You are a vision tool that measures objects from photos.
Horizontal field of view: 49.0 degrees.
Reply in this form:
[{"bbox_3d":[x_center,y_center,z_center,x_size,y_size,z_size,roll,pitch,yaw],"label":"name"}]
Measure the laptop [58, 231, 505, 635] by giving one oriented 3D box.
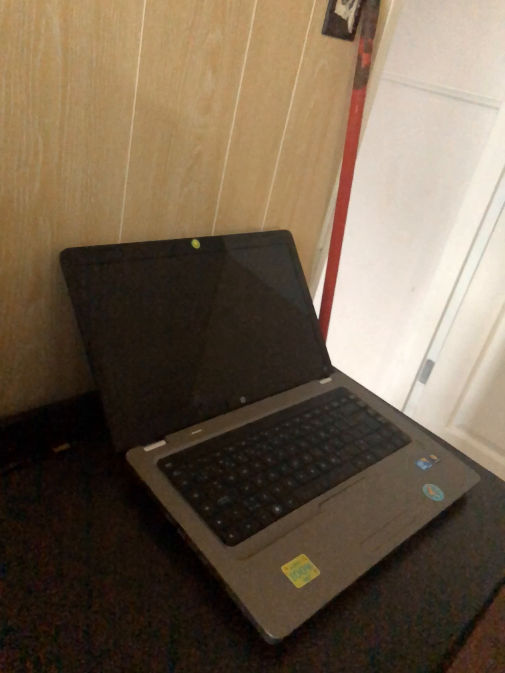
[{"bbox_3d":[0.036,0.041,0.664,0.364,0.154,0.419,-14,40,-41],"label":"laptop"}]
